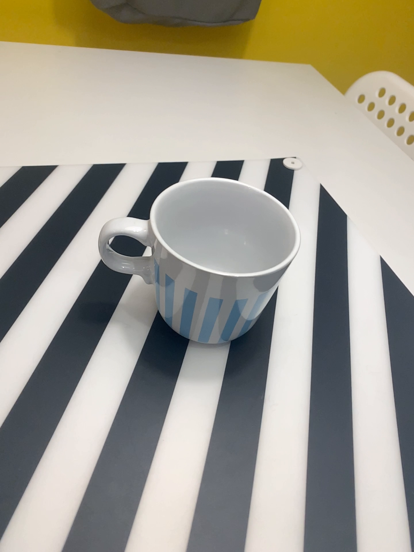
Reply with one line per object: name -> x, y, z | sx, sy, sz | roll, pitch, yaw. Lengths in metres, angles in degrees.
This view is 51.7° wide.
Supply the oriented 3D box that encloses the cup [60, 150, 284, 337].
cup -> -0.023, -0.019, 0.262 | 0.110, 0.070, 0.080 | 4, 45, -9
